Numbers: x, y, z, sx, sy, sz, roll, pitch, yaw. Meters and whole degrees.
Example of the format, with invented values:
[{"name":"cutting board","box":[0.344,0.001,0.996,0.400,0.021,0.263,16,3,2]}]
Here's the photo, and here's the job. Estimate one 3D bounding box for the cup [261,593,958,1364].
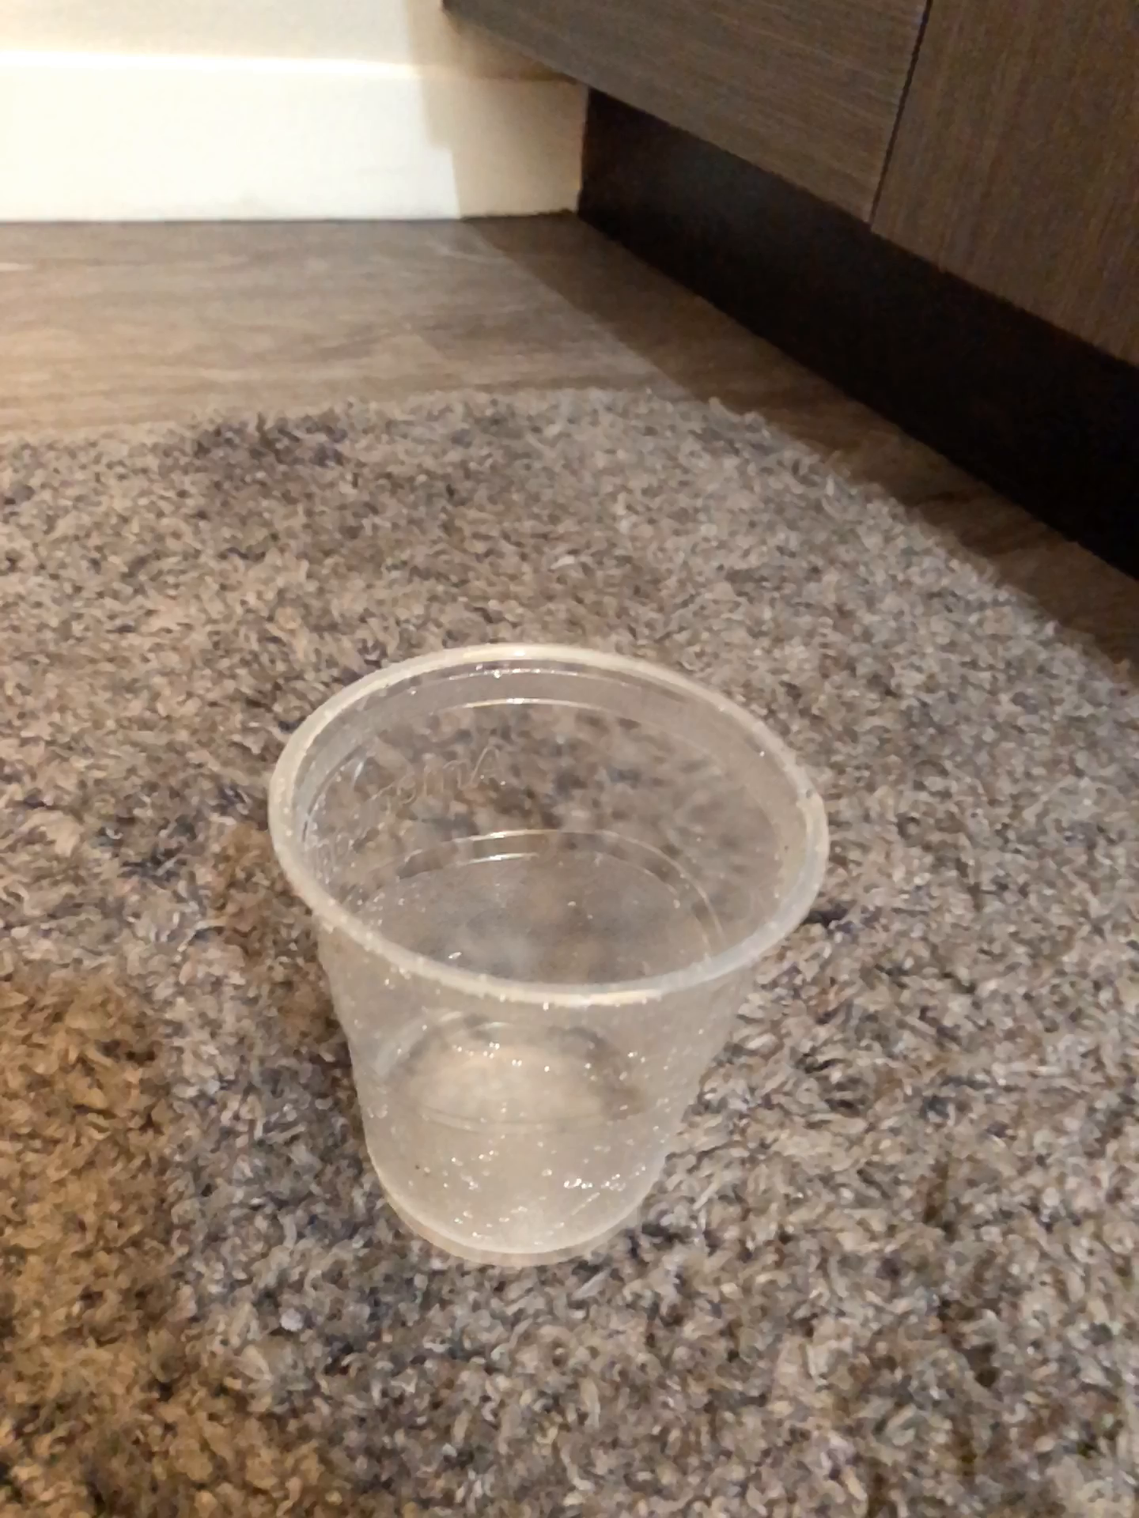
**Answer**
[{"name":"cup","box":[-0.005,0.035,0.222,0.090,0.089,0.091,6,37,-5]}]
